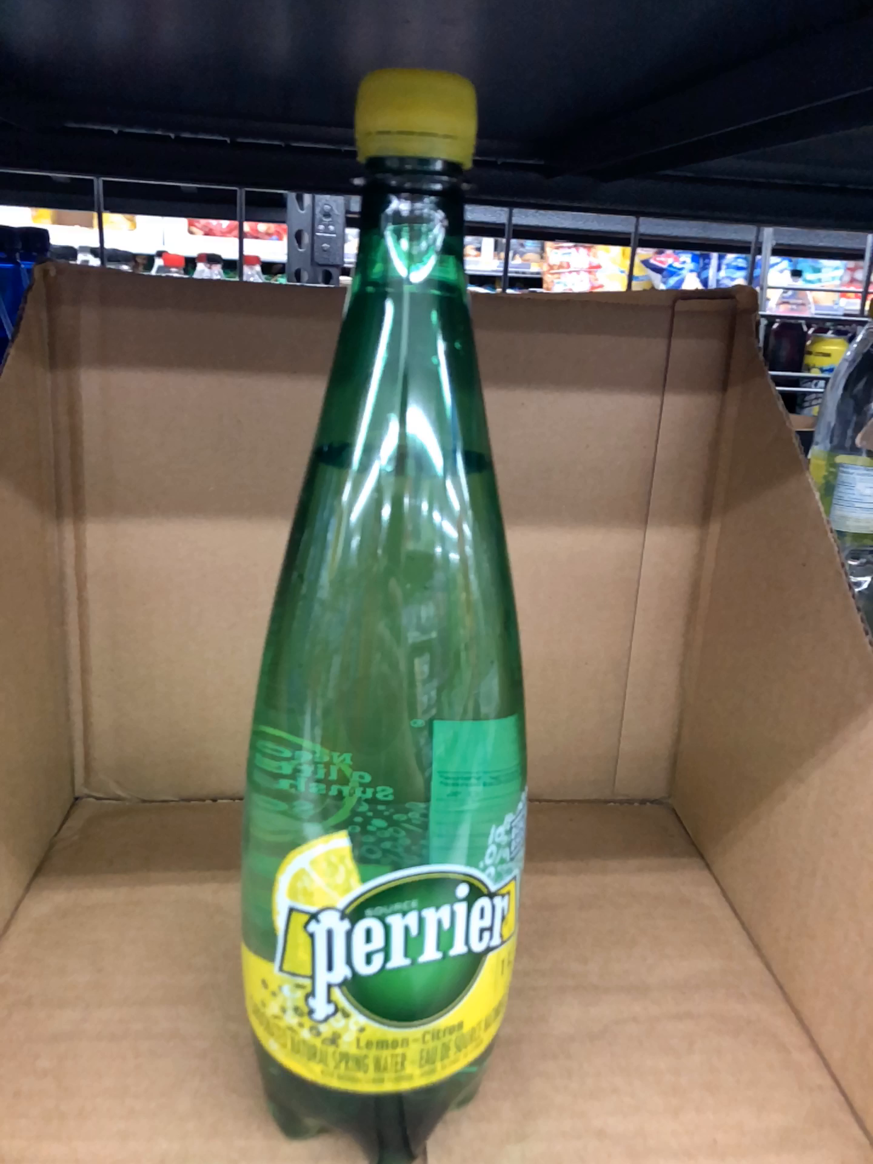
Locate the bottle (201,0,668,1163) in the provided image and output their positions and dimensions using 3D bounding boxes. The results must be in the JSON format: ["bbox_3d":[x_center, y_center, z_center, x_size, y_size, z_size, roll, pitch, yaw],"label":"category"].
[{"bbox_3d":[-0.016,0.020,0.283,0.100,0.318,0.080,0,17,-13],"label":"bottle"}]
